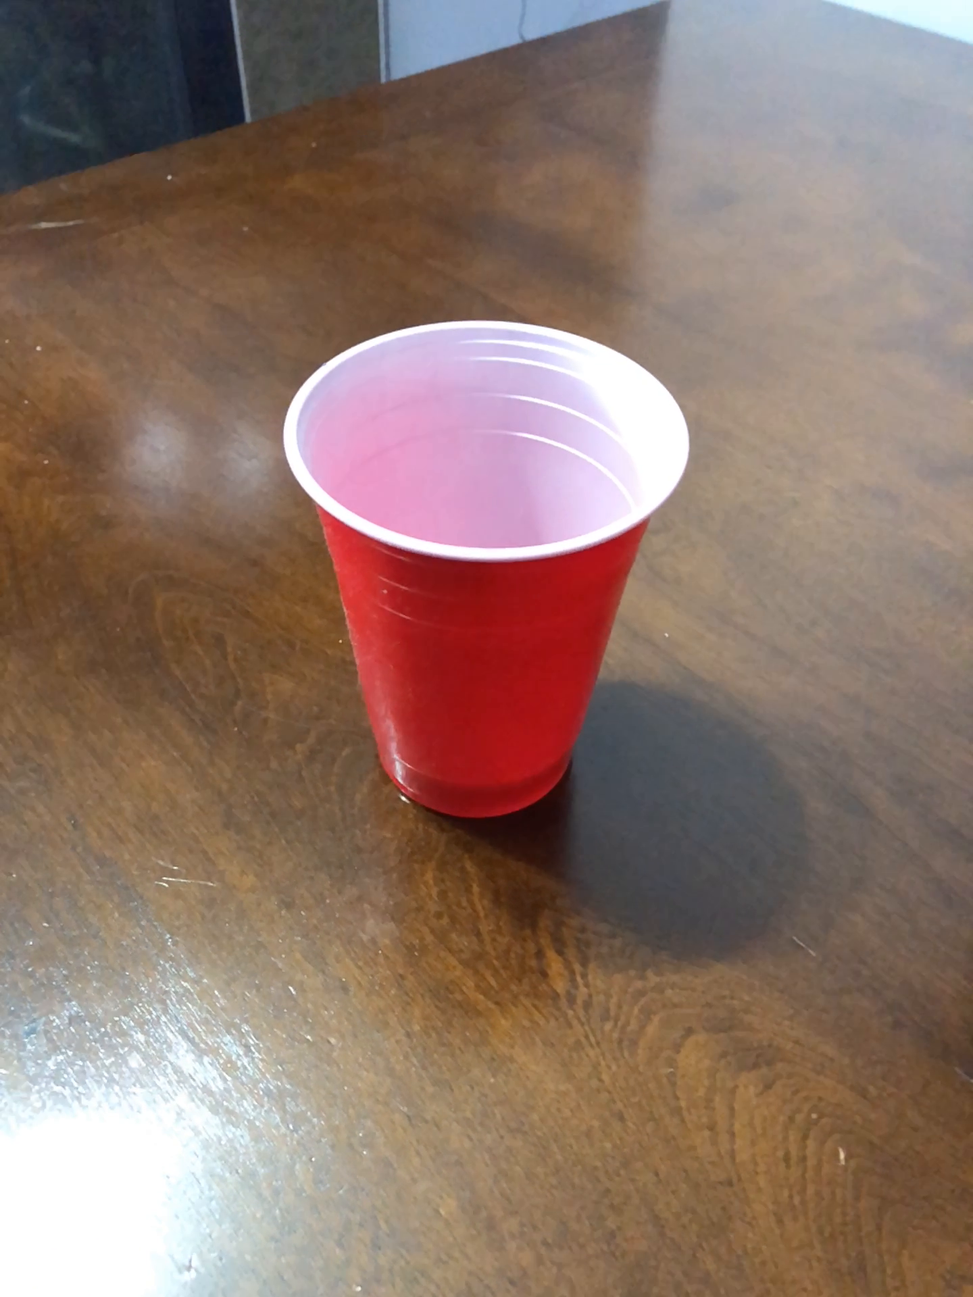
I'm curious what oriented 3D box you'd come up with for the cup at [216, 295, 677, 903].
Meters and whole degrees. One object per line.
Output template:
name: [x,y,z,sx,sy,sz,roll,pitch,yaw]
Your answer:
cup: [-0.005,-0.012,0.283,0.090,0.120,0.090,1,43,-1]
